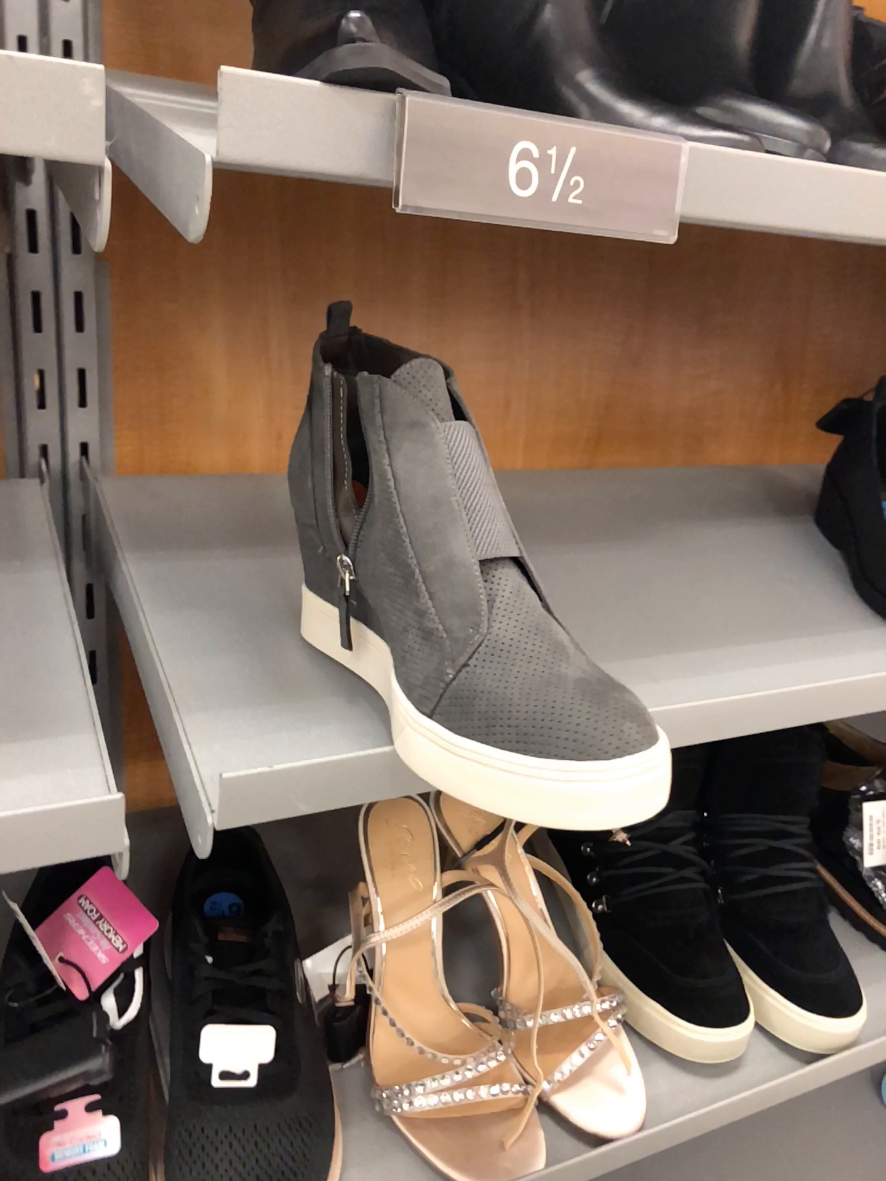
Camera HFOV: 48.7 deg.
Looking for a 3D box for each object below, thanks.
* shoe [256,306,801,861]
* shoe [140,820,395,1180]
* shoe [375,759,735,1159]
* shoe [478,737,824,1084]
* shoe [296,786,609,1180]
[{"bbox_3d":[0.007,-0.032,0.439,0.104,0.173,0.273,-5,15,-27],"label":"shoe"},{"bbox_3d":[-0.115,0.237,0.559,0.109,0.065,0.278,-2,18,-17],"label":"shoe"},{"bbox_3d":[0.055,0.214,0.624,0.084,0.089,0.248,-6,23,-32],"label":"shoe"},{"bbox_3d":[0.132,0.210,0.711,0.103,0.068,0.278,-3,22,-22],"label":"shoe"},{"bbox_3d":[-0.010,0.223,0.591,0.083,0.085,0.251,-4,20,-25],"label":"shoe"}]
